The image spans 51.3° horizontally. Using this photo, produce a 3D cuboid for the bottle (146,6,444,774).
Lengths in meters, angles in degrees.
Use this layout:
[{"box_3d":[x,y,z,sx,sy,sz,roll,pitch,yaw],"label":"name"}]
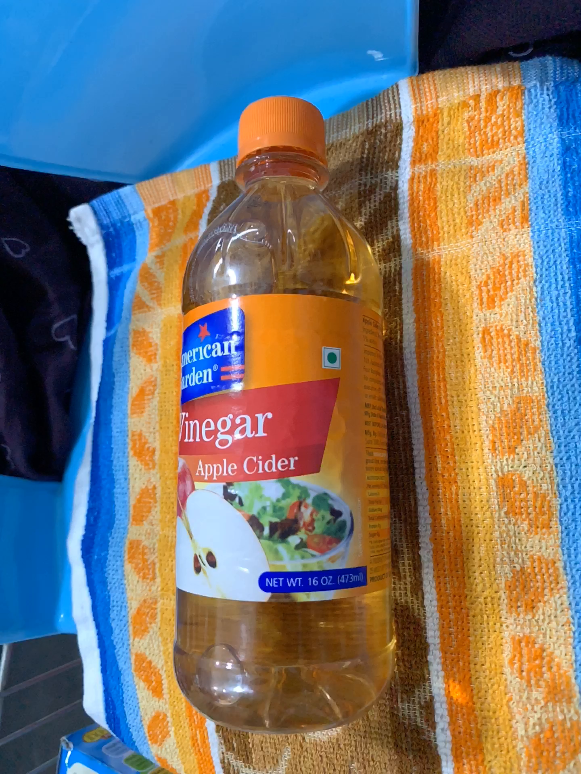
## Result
[{"box_3d":[-0.002,-0.001,0.183,0.070,0.050,0.180,-7,81,44],"label":"bottle"}]
